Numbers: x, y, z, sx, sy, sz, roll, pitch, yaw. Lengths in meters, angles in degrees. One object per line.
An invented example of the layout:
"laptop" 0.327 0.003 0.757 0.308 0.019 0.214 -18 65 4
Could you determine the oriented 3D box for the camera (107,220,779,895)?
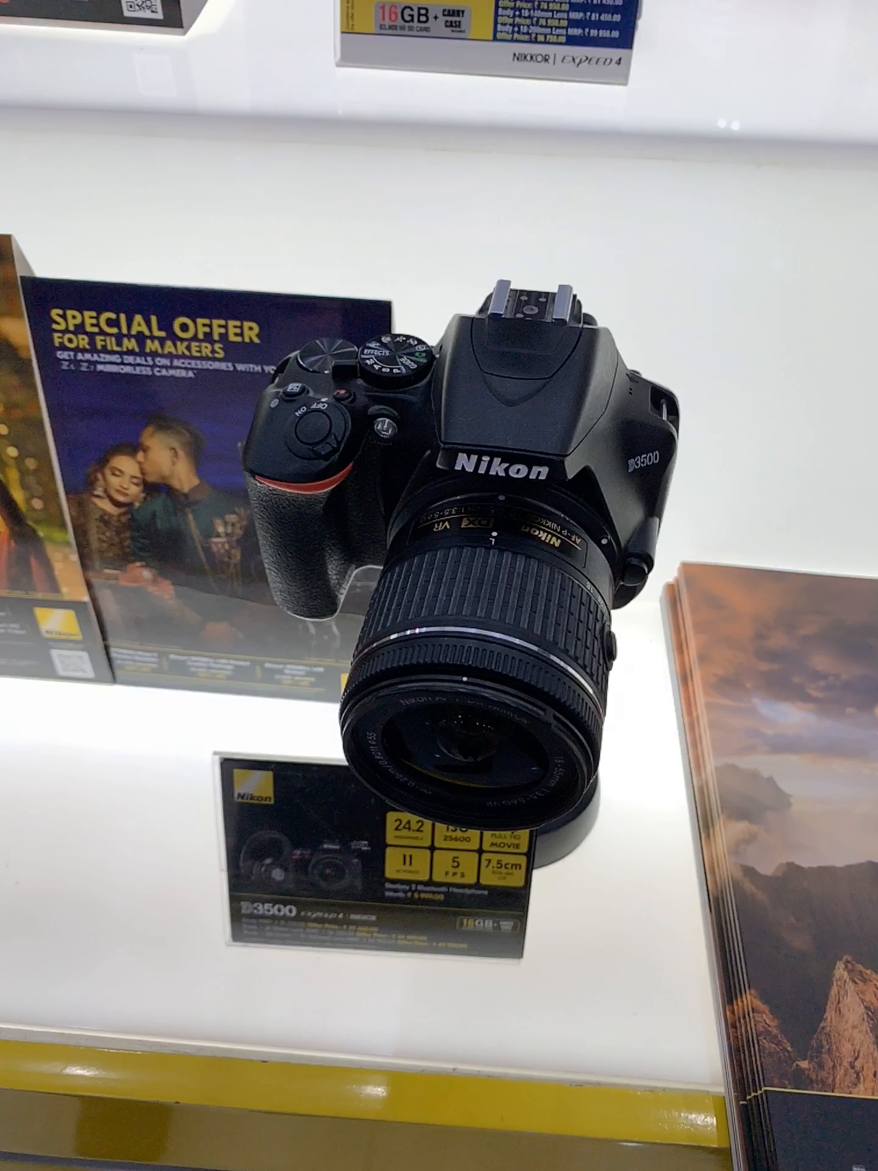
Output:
"camera" 0.010 -0.019 0.224 0.110 0.070 0.150 7 46 6
